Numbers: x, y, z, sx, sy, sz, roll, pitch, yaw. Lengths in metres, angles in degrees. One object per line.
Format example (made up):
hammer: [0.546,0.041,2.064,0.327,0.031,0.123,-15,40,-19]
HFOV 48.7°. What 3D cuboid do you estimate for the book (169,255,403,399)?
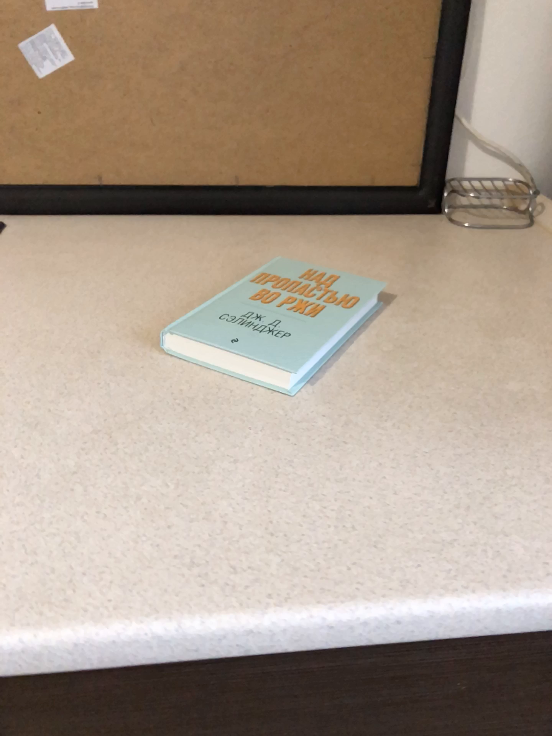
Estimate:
book: [0.016,-0.043,0.488,0.115,0.020,0.176,18,35,24]
